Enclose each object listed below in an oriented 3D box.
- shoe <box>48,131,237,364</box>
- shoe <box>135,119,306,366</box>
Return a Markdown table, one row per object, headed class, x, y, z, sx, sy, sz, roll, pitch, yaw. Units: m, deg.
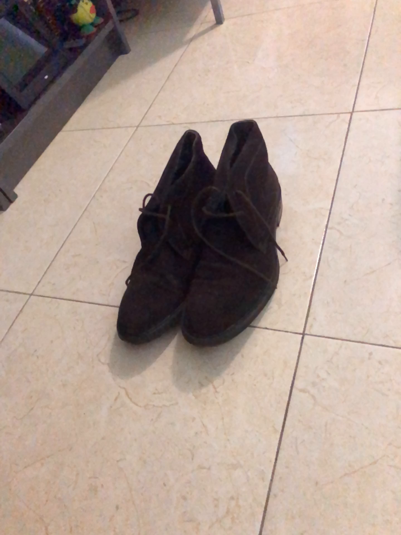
| class | x | y | z | sx | sy | sz | roll | pitch | yaw |
| --- | --- | --- | --- | --- | --- | --- | --- | --- | --- |
| shoe | -0.060 | -0.041 | 0.619 | 0.110 | 0.129 | 0.301 | 6 | 54 | 26 |
| shoe | 0.047 | -0.045 | 0.596 | 0.110 | 0.139 | 0.301 | 6 | 54 | 26 |
